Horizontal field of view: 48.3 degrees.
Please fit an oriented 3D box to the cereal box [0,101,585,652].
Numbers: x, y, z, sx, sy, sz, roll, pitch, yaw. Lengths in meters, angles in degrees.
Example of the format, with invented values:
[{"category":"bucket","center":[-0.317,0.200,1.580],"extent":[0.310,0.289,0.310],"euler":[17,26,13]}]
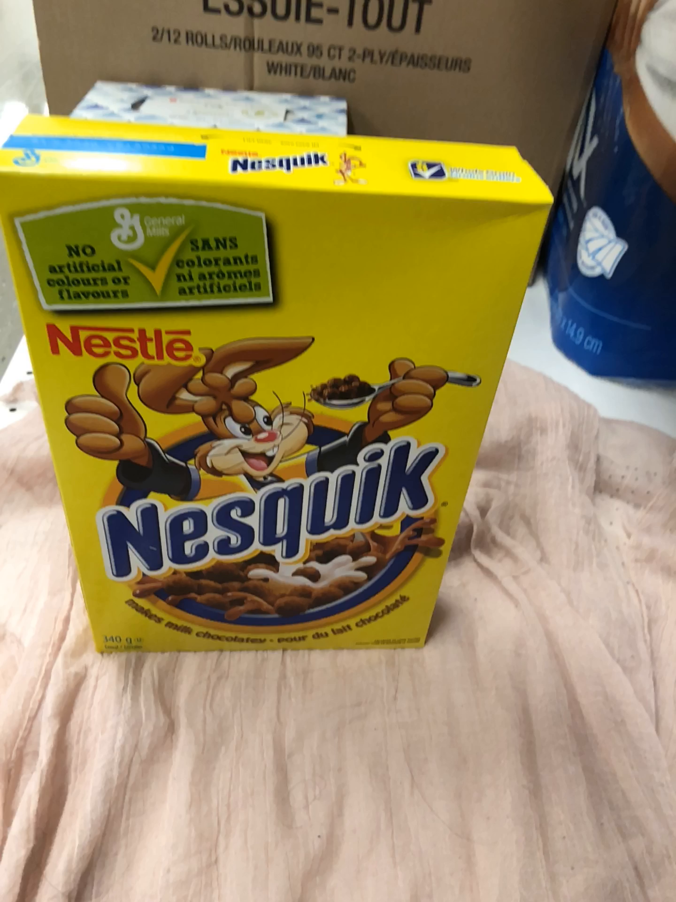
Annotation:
[{"category":"cereal box","center":[-0.032,-0.007,0.343],"extent":[0.200,0.259,0.060],"euler":[1,43,-5]}]
